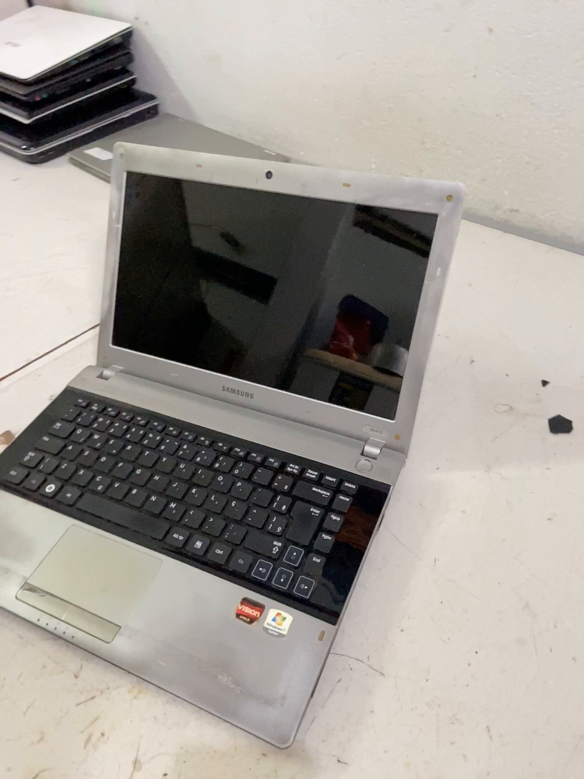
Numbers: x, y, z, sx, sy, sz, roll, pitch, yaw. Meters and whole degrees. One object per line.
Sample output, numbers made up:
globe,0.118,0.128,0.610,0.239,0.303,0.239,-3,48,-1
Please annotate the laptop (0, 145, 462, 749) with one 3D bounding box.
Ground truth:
laptop,-0.091,-0.013,0.472,0.342,0.180,0.368,15,48,21
